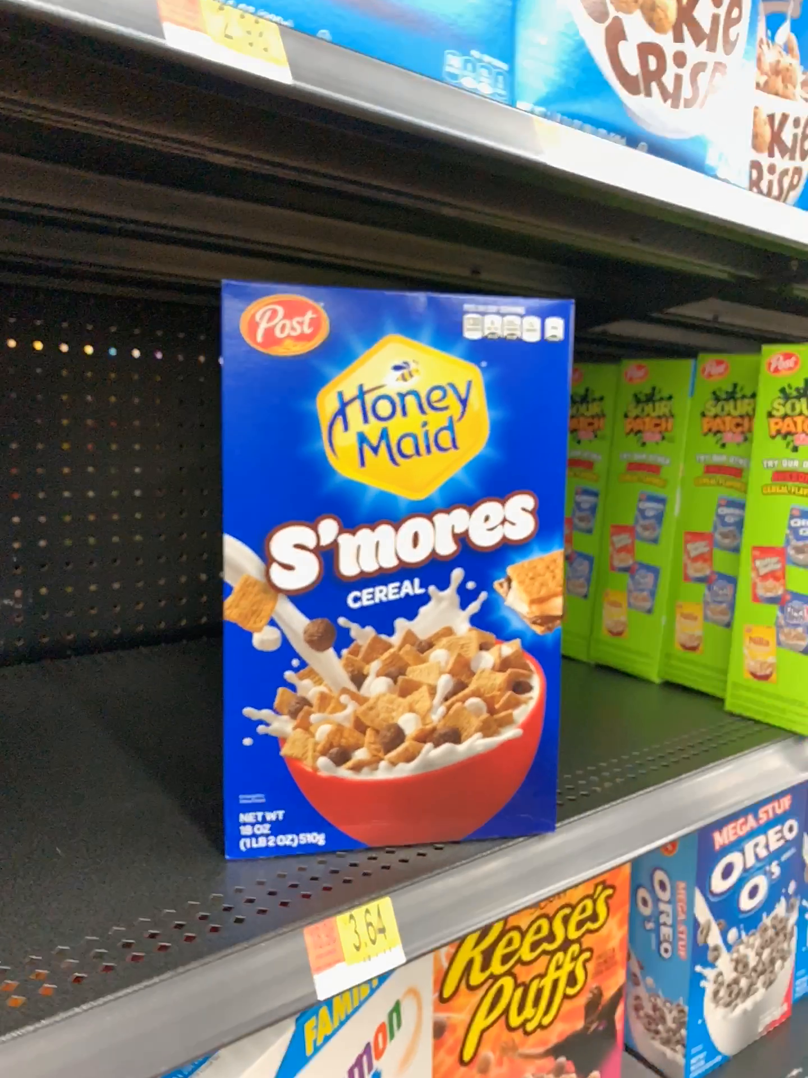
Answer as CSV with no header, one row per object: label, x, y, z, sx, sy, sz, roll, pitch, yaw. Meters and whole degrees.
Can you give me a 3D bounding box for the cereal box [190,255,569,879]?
cereal box,-0.019,0.016,0.483,0.200,0.320,0.070,0,5,-13
